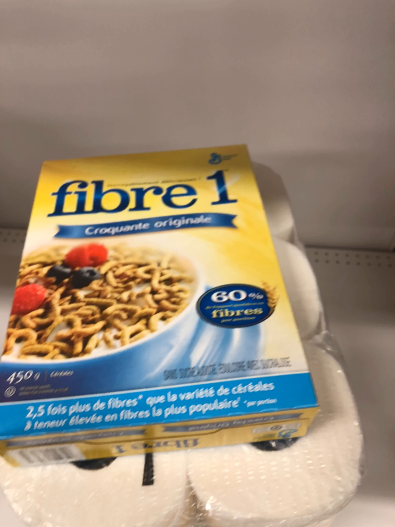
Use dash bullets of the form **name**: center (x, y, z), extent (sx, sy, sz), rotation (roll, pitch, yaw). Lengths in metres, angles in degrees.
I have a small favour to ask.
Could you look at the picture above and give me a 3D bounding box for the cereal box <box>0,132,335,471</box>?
- **cereal box**: center (-0.031, 0.008, 0.352), extent (0.200, 0.060, 0.261), rotation (-5, 52, -1)
